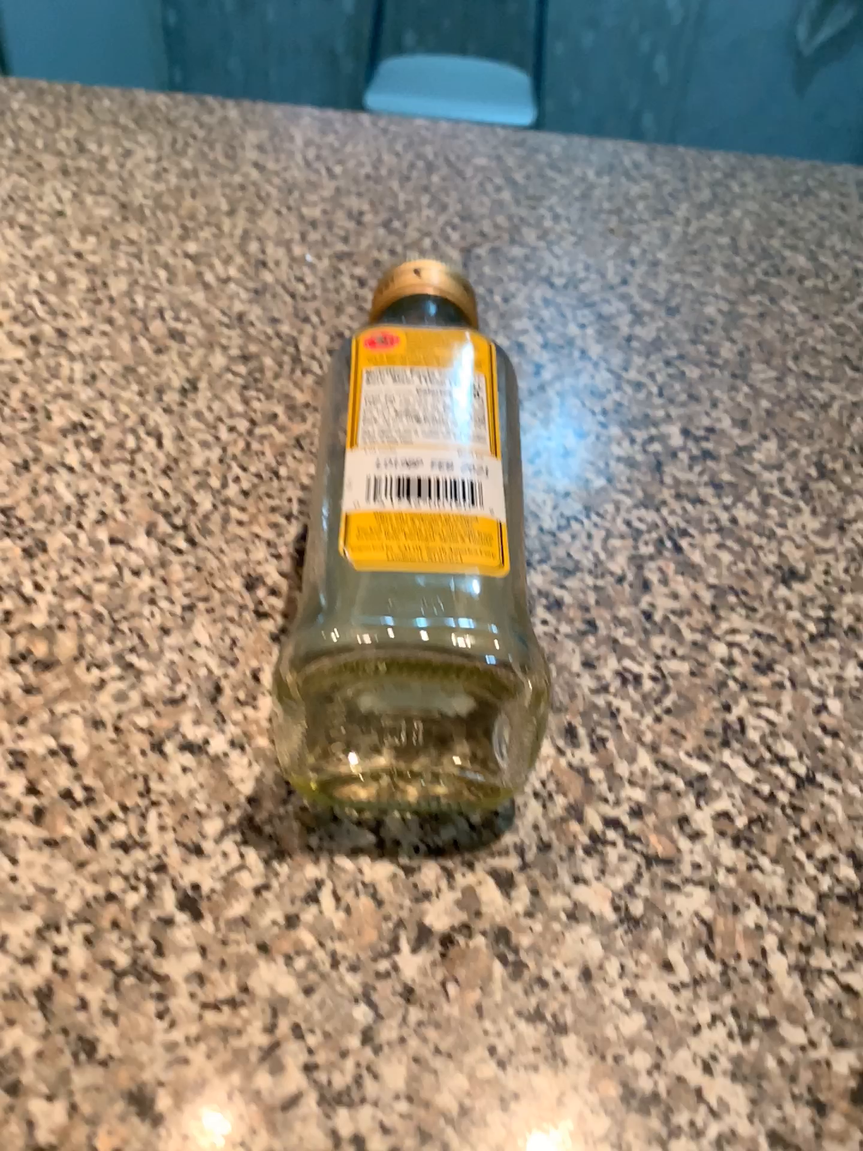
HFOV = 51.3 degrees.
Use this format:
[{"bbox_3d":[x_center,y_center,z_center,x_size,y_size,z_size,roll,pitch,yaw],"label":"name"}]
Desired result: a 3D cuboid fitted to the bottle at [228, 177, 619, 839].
[{"bbox_3d":[-0.003,-0.033,0.224,0.060,0.060,0.181,3,44,-3],"label":"bottle"}]
